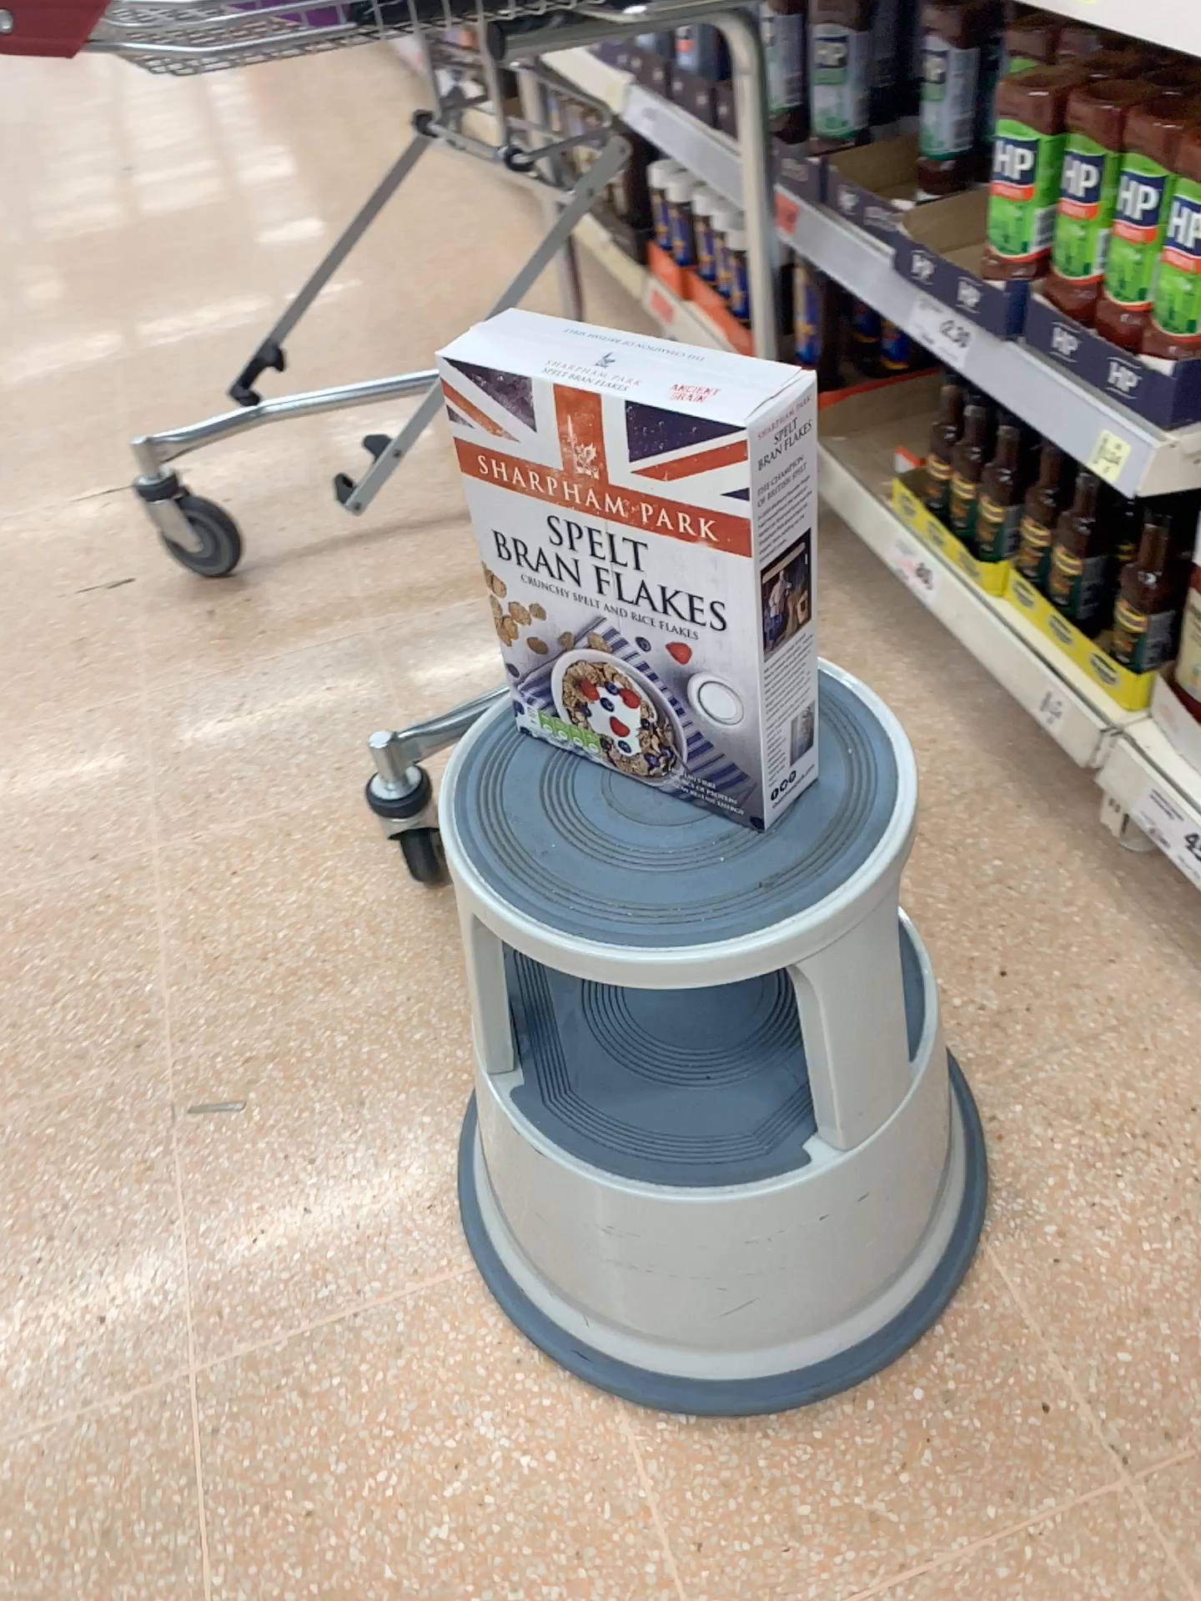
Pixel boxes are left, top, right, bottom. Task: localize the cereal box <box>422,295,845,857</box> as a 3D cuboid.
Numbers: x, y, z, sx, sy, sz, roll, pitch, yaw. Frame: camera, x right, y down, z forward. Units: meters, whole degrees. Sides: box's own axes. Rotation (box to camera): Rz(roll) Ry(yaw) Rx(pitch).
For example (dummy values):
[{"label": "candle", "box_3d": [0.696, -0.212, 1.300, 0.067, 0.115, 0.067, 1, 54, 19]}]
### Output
[{"label": "cereal box", "box_3d": [0.026, -0.119, 0.670, 0.201, 0.258, 0.070, 25, 53, 31]}]
